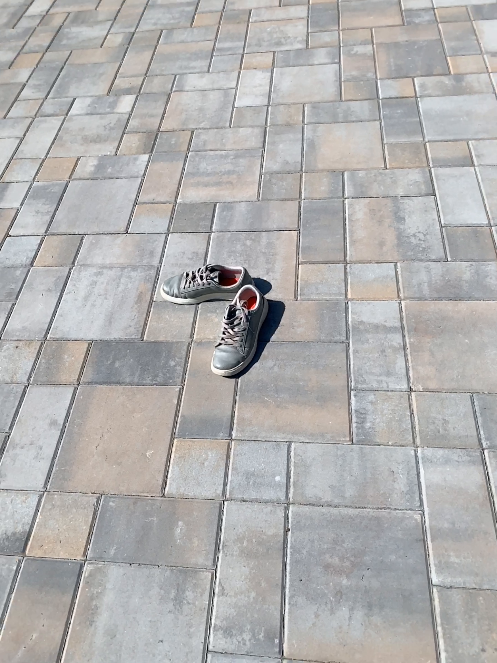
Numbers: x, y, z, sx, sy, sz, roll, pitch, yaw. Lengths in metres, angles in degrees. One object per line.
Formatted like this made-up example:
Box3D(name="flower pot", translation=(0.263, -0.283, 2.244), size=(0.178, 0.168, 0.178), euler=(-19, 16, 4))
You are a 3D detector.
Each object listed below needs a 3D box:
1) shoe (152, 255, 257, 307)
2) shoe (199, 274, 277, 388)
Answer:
Box3D(name="shoe", translation=(-0.131, -0.154, 1.571), size=(0.300, 0.090, 0.120), euler=(-1, 54, 7))
Box3D(name="shoe", translation=(-0.022, -0.008, 1.447), size=(0.120, 0.110, 0.301), euler=(12, 56, 15))
